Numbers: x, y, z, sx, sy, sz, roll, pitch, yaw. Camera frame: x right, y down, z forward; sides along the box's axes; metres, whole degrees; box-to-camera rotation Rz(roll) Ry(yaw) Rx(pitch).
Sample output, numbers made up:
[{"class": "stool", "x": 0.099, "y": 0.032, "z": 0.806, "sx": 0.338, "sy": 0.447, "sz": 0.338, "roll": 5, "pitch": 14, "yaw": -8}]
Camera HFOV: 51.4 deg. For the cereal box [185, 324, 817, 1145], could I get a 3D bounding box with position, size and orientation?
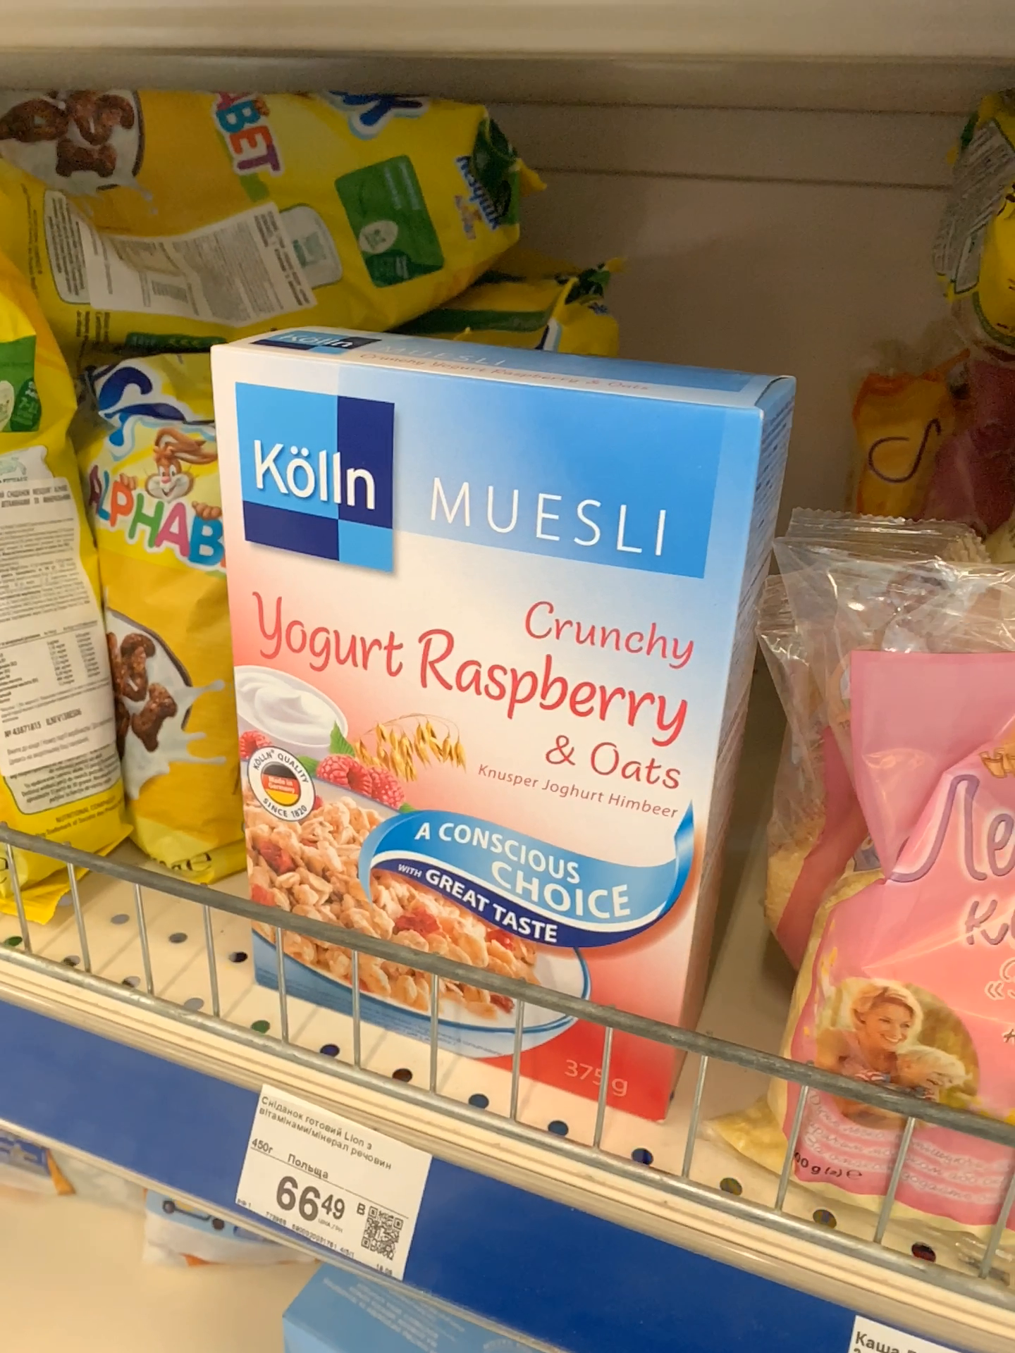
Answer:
[{"class": "cereal box", "x": -0.006, "y": 0.014, "z": 0.312, "sx": 0.150, "sy": 0.208, "sz": 0.060, "roll": 12, "pitch": 26, "yaw": 20}]
